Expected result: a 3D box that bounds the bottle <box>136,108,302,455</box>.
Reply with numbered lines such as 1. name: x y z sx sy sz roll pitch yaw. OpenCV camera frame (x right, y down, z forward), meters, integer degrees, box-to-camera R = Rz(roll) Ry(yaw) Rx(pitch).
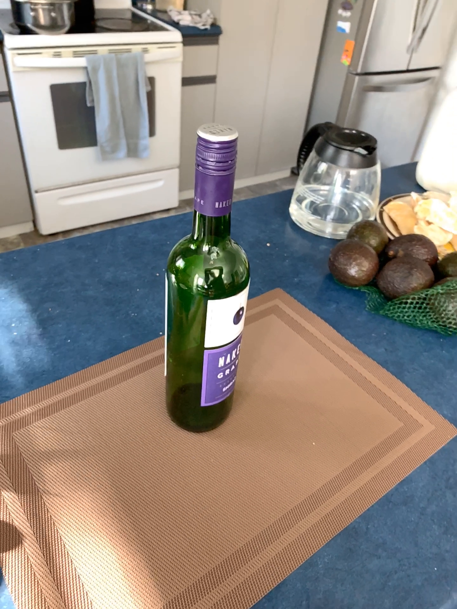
1. bottle: -0.017 -0.002 0.406 0.080 0.287 0.081 4 39 -3
